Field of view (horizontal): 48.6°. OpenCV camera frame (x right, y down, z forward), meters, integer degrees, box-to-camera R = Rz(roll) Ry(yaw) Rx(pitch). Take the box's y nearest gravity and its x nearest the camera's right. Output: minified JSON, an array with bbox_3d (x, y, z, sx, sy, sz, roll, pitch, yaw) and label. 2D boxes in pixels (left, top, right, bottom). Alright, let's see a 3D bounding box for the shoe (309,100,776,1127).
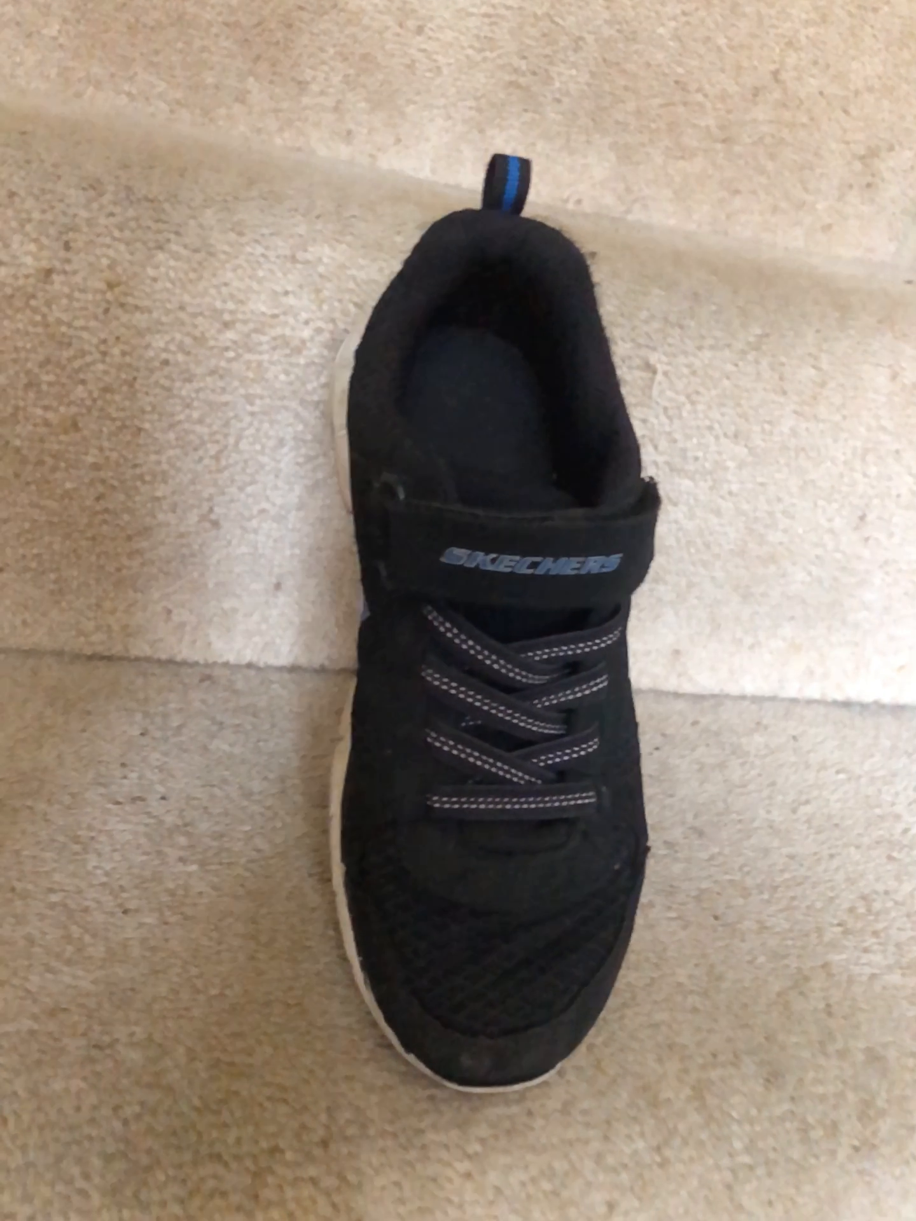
[{"bbox_3d":[0.009,-0.001,0.267,0.090,0.221,0.100,1,-13,-9],"label":"shoe"}]
